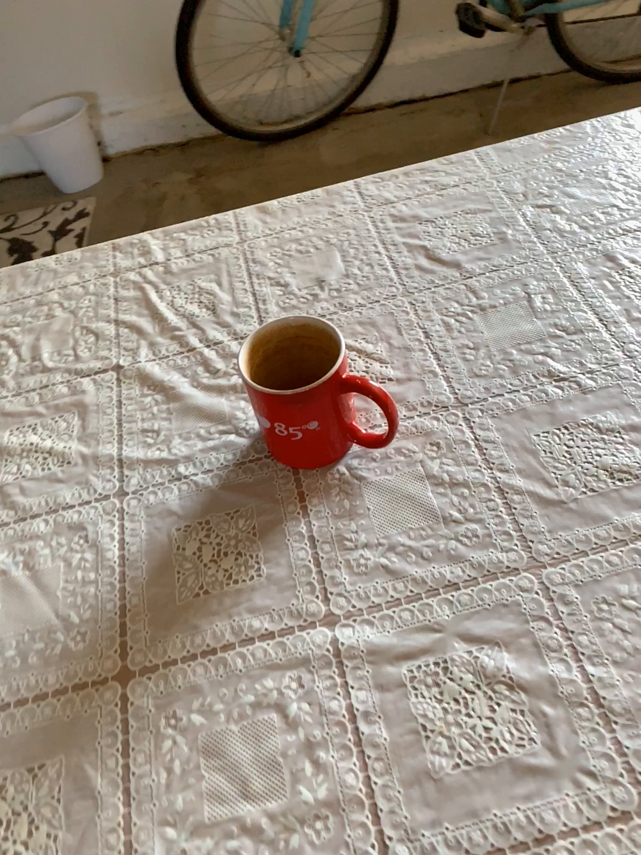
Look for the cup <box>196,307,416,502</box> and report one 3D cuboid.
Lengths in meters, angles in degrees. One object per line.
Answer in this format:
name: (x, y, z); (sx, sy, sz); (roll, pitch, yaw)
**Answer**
cup: (-0.005, -0.019, 0.498); (0.130, 0.090, 0.090); (12, 56, 19)
